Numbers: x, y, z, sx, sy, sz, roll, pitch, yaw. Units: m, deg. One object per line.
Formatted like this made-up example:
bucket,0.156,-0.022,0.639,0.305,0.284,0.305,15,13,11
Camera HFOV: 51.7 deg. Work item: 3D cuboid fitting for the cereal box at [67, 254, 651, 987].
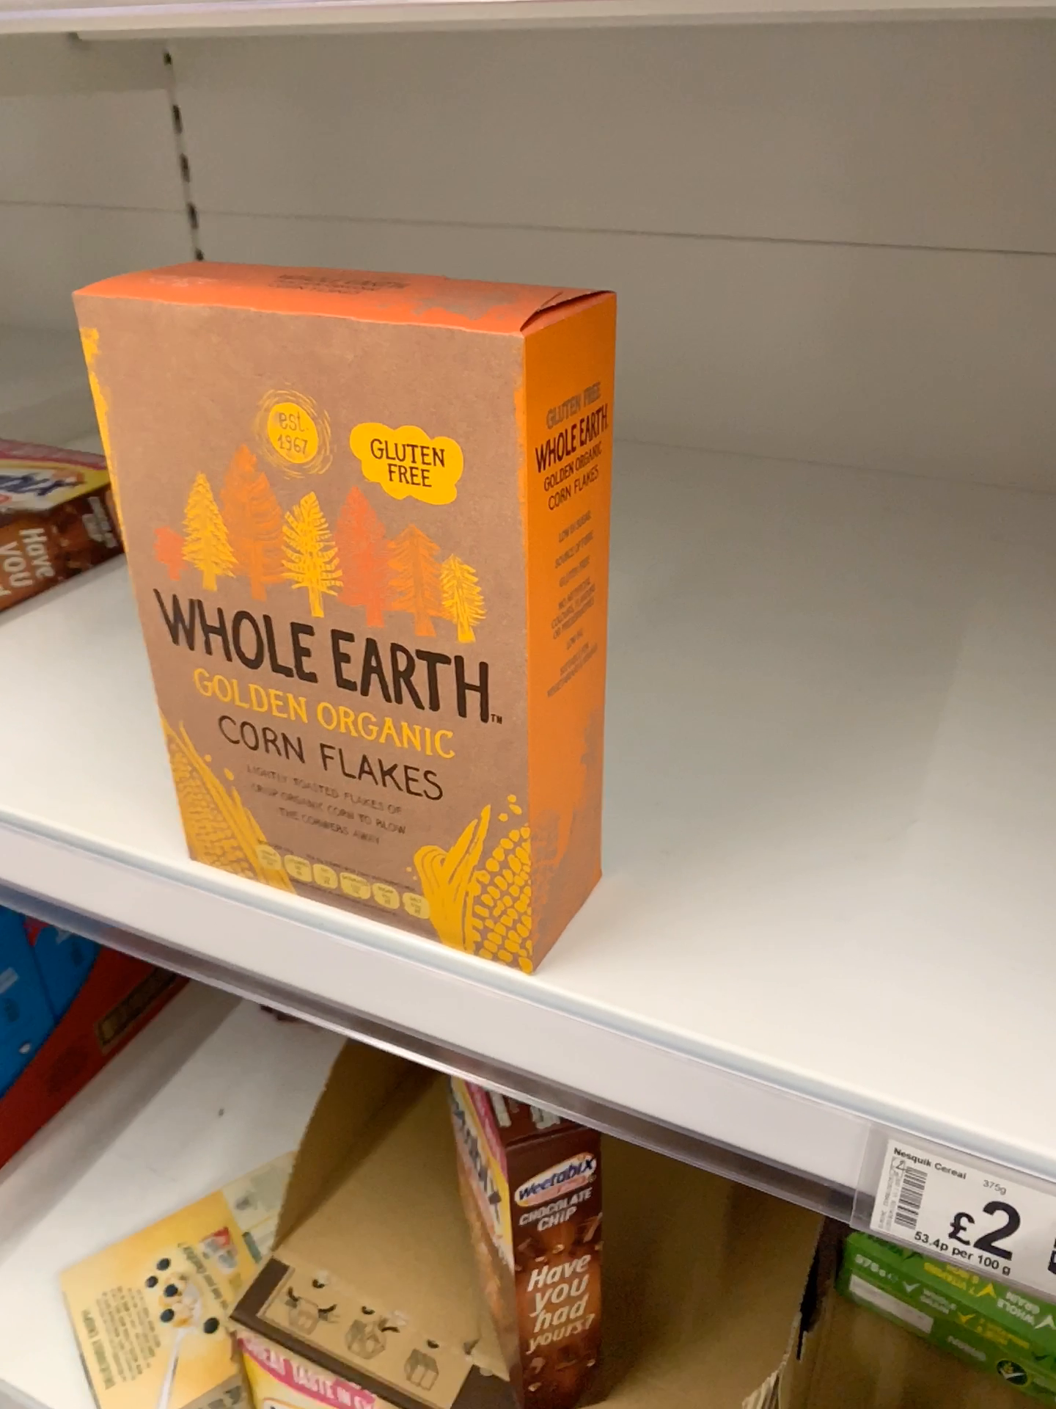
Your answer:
cereal box,-0.063,-0.039,0.472,0.200,0.268,0.091,14,33,23
